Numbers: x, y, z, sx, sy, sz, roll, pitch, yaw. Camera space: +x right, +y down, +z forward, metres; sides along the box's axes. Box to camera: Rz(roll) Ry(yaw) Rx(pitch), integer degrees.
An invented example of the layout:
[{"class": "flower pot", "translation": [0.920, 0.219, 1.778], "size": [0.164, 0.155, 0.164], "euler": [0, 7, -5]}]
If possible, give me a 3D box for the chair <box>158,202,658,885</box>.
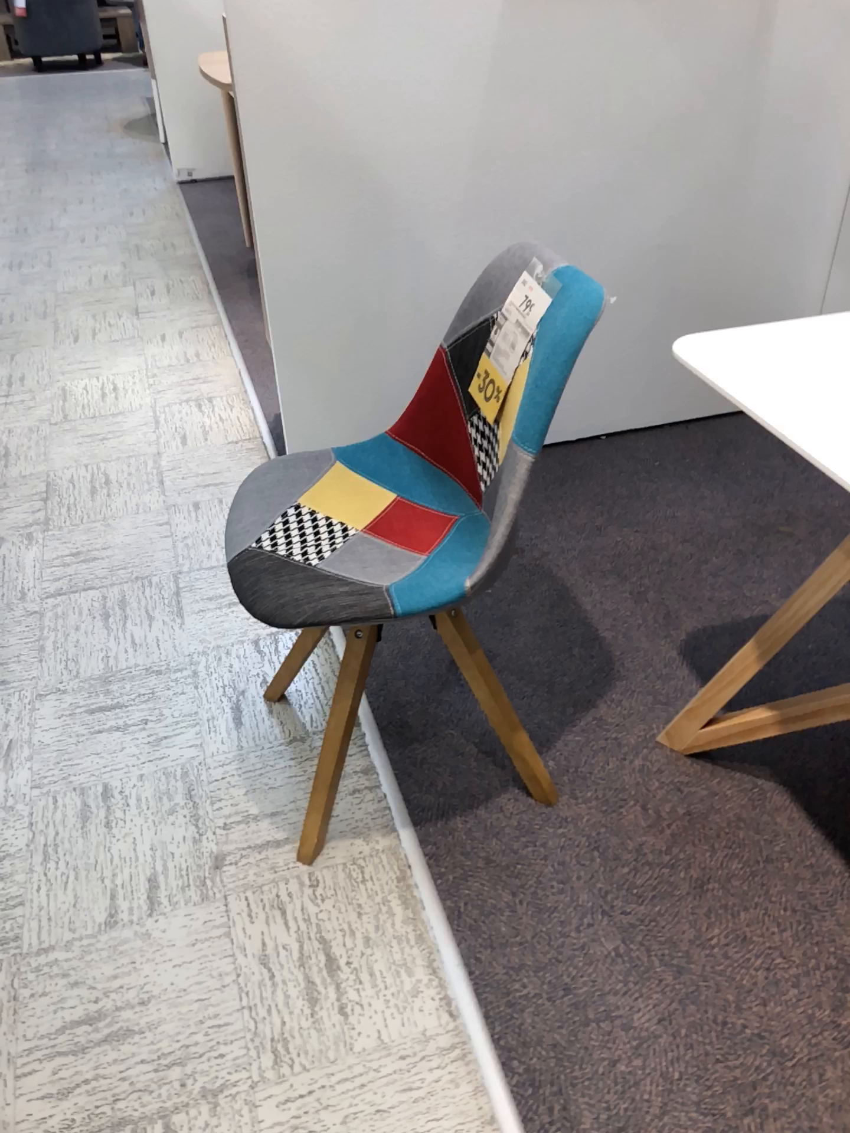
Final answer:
[{"class": "chair", "translation": [-0.044, -0.038, 1.389], "size": [0.511, 0.815, 0.472], "euler": [-12, 36, -13]}]
